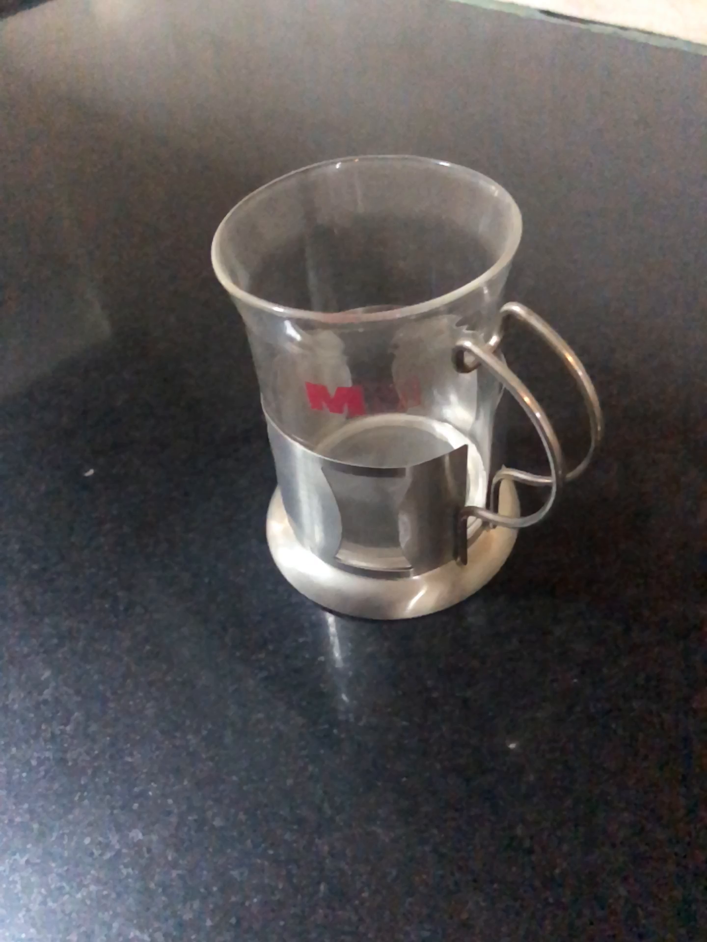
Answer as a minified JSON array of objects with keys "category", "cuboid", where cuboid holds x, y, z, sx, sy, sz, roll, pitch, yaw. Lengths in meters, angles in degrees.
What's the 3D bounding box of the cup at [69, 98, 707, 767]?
[{"category":"cup","cuboid":[0.009,-0.013,0.203,0.080,0.109,0.110,-38,53,-25]}]
